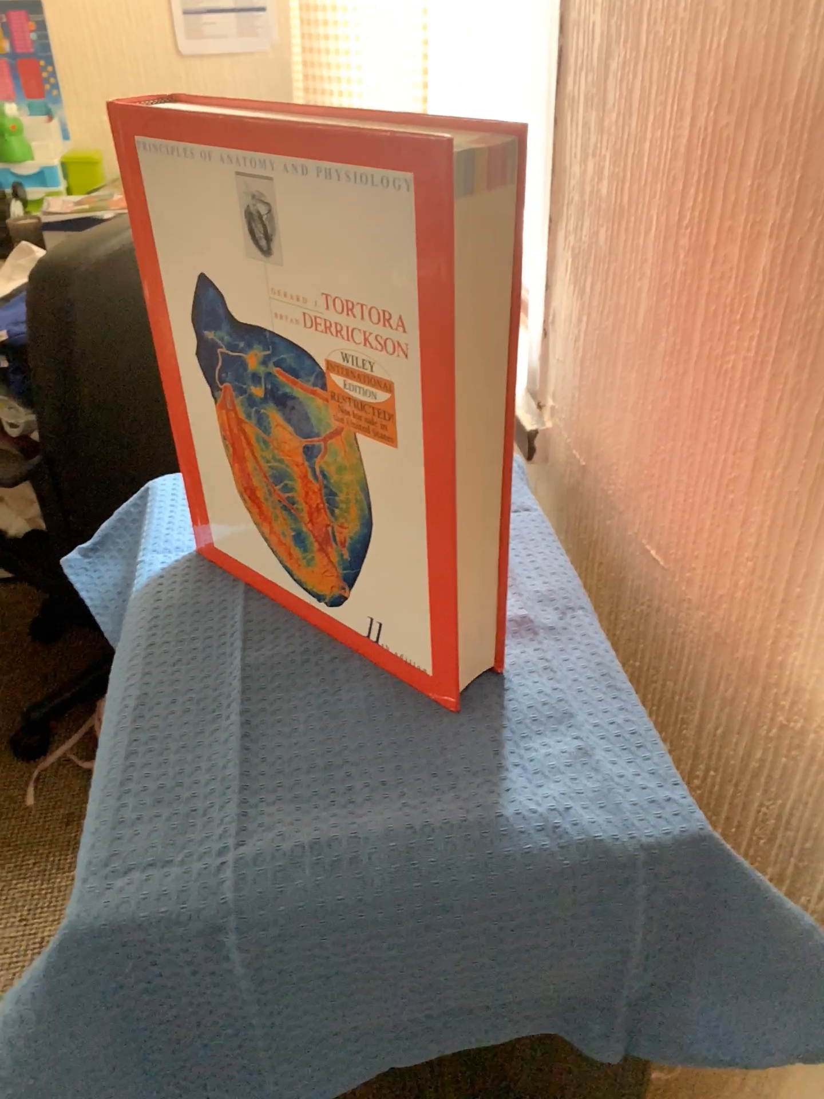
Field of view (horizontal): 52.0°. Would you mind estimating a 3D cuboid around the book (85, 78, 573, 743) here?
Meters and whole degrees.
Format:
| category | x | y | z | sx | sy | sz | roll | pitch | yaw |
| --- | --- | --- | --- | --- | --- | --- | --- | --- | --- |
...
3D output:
| category | x | y | z | sx | sy | sz | roll | pitch | yaw |
| --- | --- | --- | --- | --- | --- | --- | --- | --- | --- |
| book | -0.052 | -0.083 | 0.453 | 0.261 | 0.287 | 0.060 | 26 | 41 | 36 |
